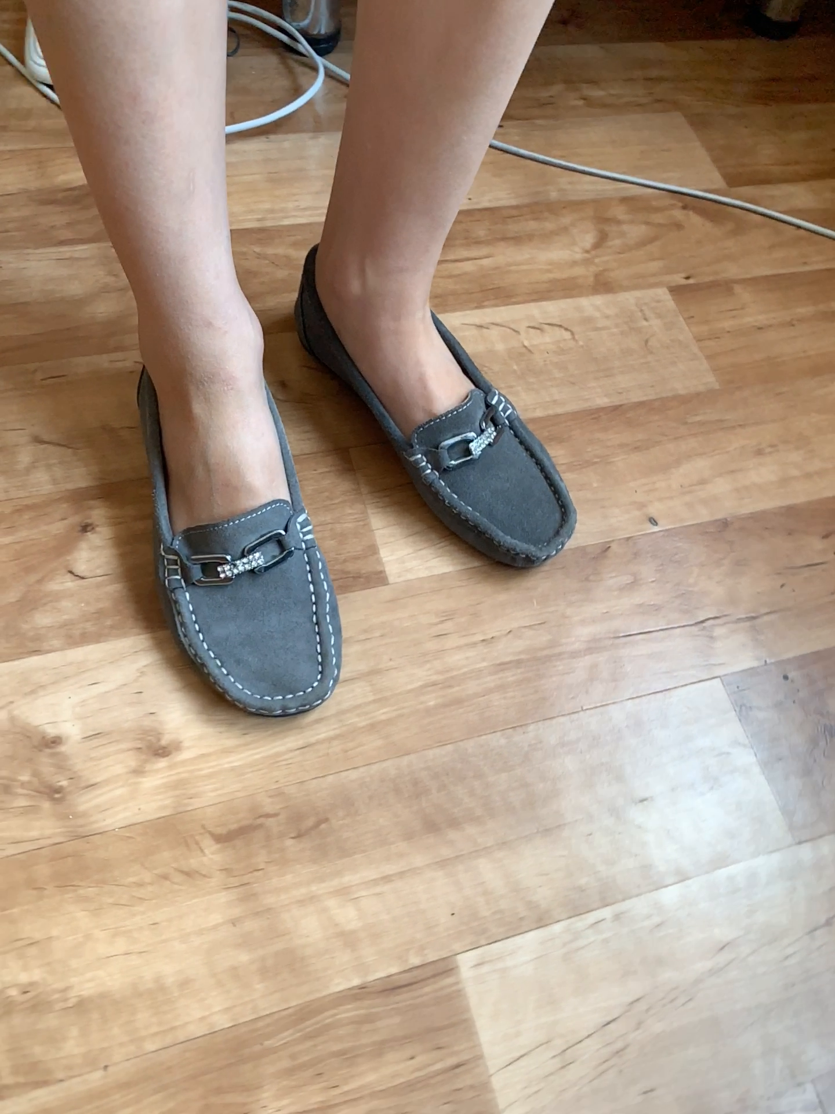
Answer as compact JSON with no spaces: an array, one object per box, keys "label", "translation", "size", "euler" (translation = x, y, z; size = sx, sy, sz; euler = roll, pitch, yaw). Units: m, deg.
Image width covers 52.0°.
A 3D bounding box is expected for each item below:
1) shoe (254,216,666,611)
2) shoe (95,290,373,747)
[{"label":"shoe","translation":[0.018,-0.093,0.519],"size":[0.100,0.060,0.240],"euler":[-38,74,-26]},{"label":"shoe","translation":[-0.105,-0.030,0.472],"size":[0.090,0.060,0.240],"euler":[-15,65,-13]}]
